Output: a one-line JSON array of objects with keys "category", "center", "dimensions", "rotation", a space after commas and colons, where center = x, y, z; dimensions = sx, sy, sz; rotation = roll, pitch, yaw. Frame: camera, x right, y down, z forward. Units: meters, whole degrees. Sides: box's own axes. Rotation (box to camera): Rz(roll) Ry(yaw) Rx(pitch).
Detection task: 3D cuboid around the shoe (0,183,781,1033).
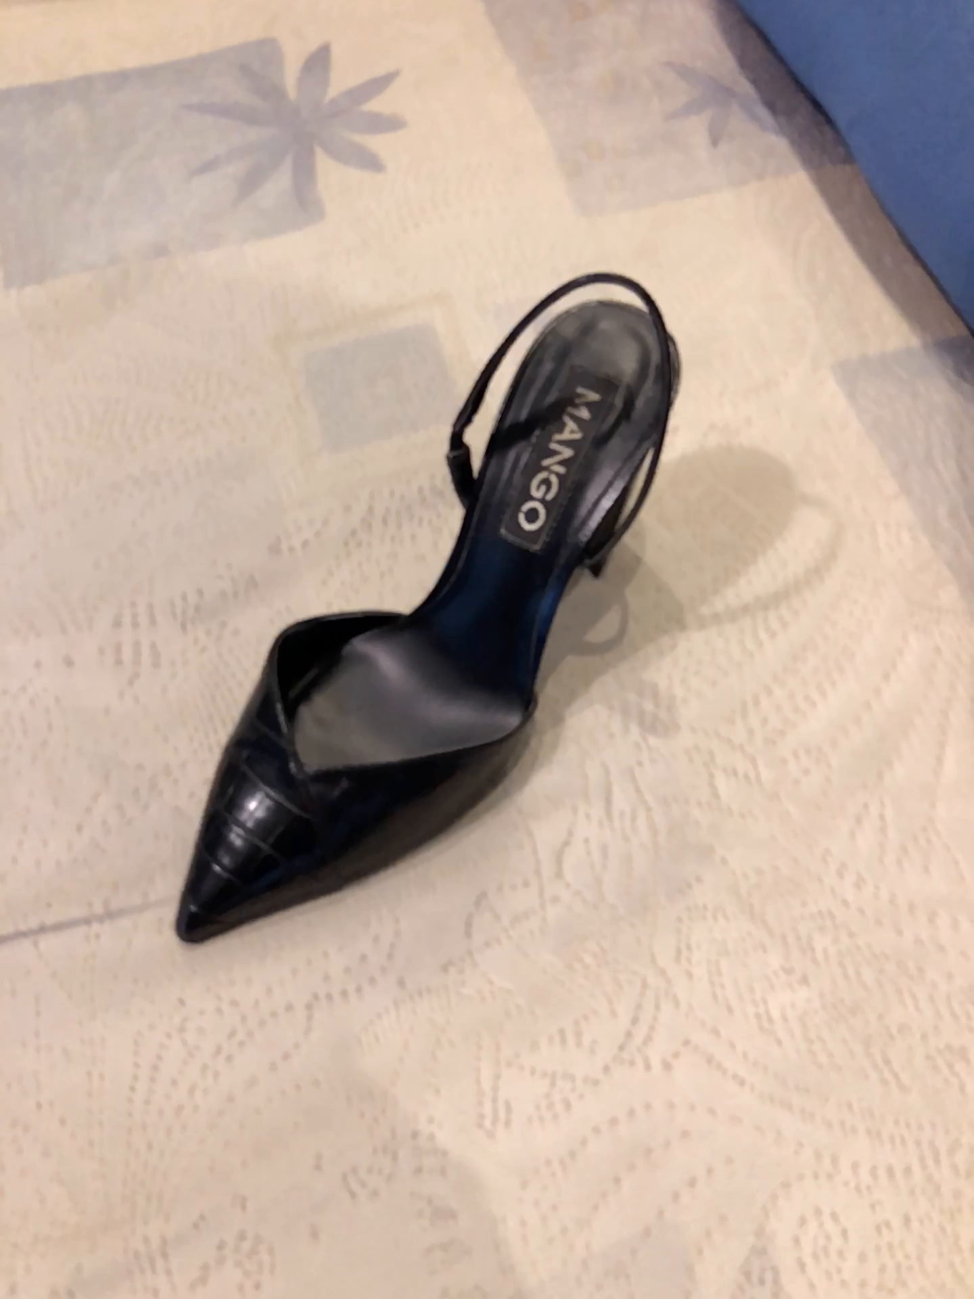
[{"category": "shoe", "center": [-0.025, -0.016, 0.357], "dimensions": [0.100, 0.129, 0.241], "rotation": [36, 66, 16]}]
